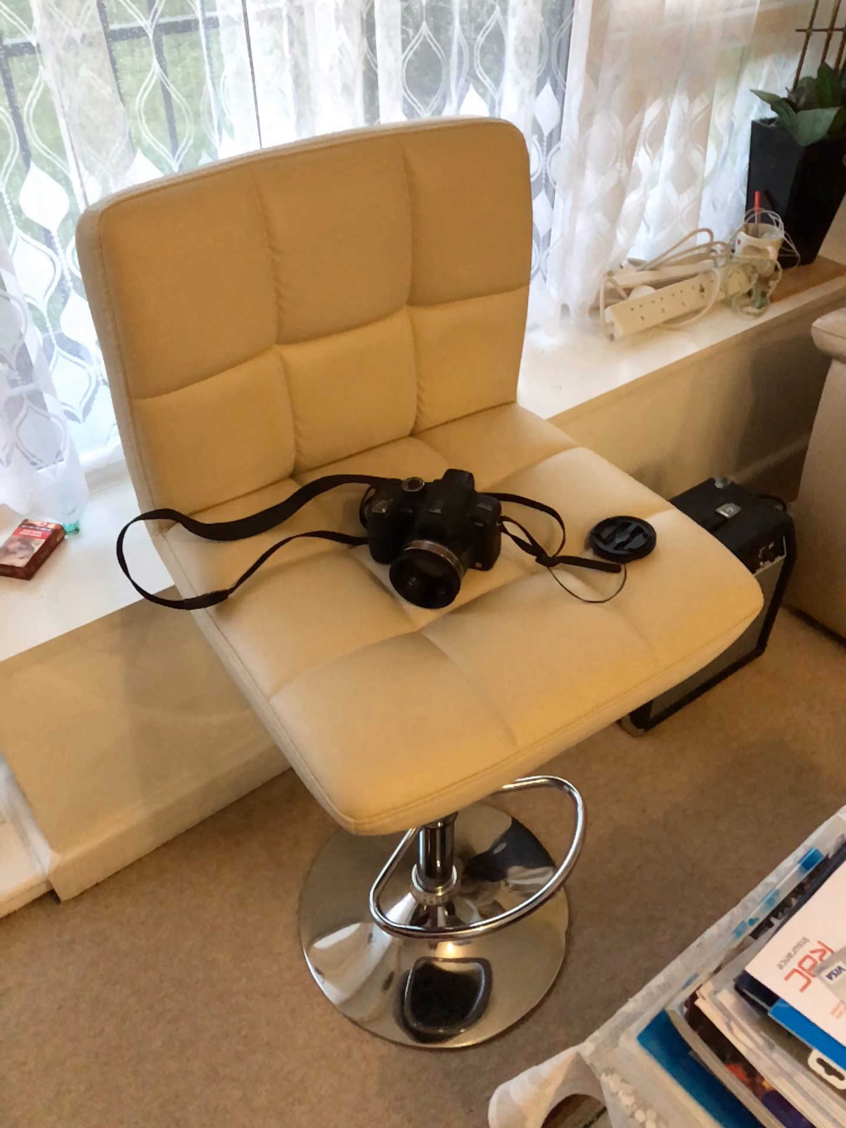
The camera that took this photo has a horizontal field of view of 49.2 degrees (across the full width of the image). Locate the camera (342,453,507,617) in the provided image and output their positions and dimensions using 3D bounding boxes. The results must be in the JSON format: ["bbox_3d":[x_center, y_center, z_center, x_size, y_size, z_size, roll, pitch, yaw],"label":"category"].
[{"bbox_3d":[0.004,-0.026,0.765,0.111,0.076,0.098,9,42,11],"label":"camera"}]
